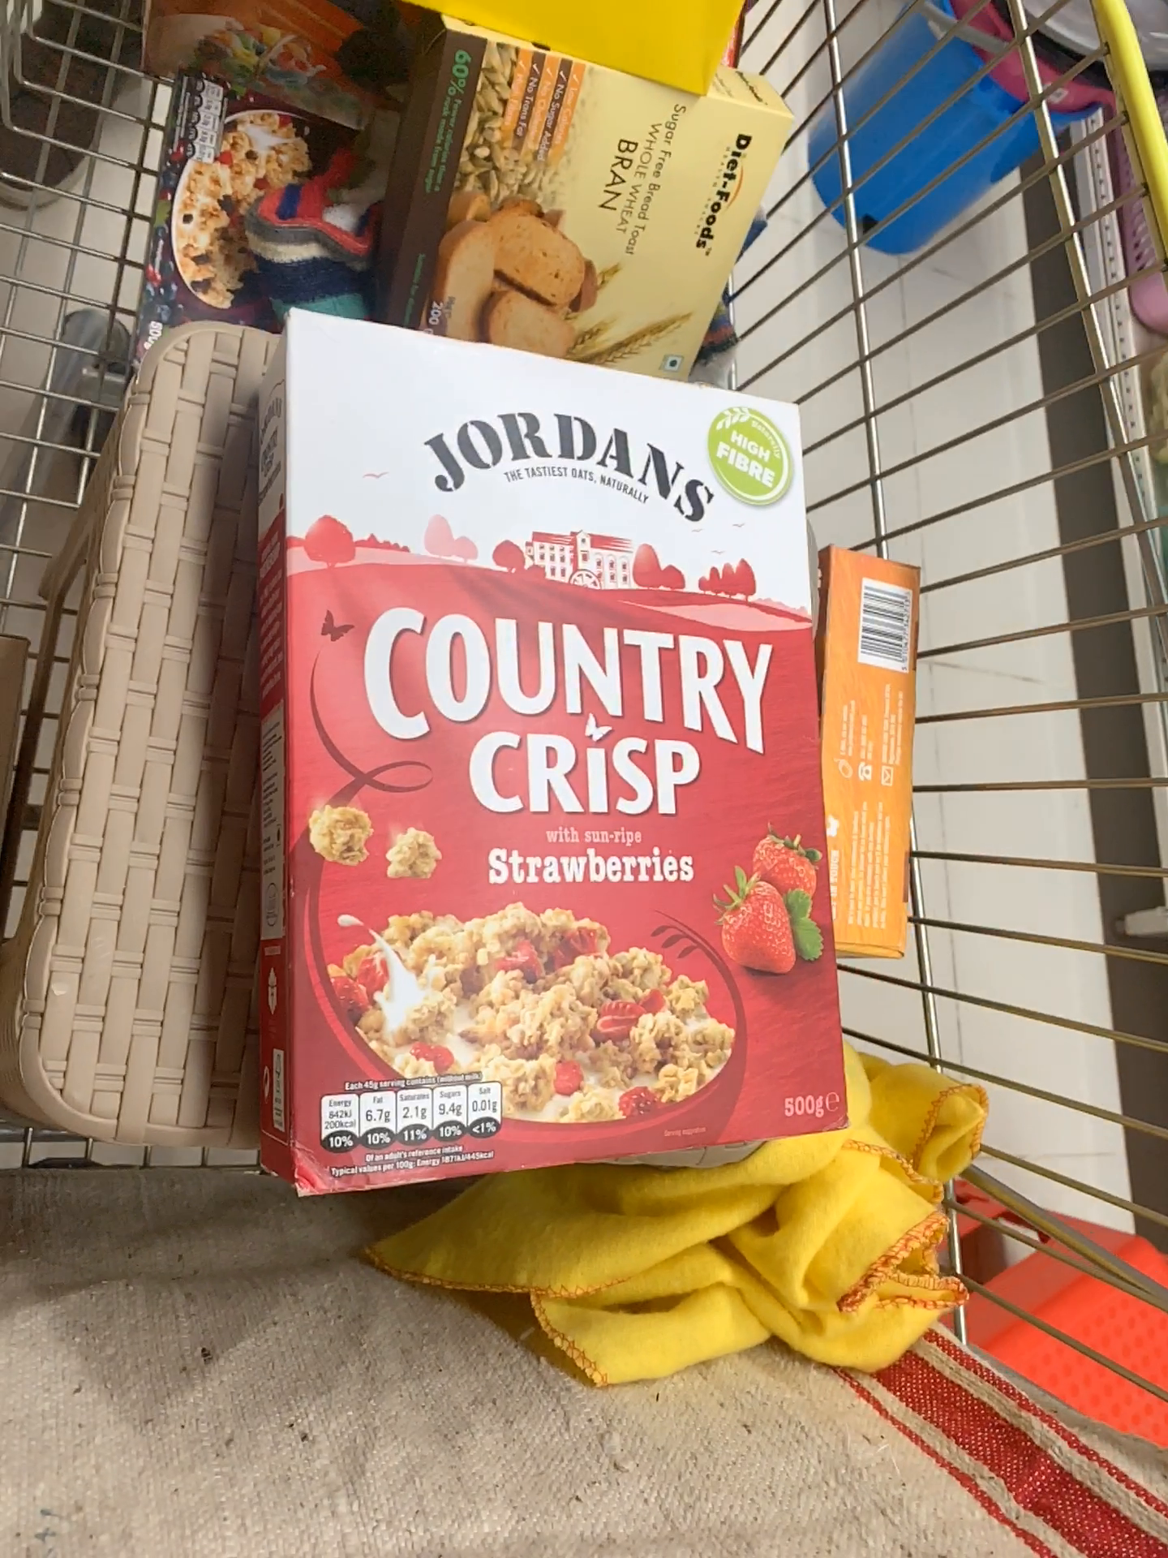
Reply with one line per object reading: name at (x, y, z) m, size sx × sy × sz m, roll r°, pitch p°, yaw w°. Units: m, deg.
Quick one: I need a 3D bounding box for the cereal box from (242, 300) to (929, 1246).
cereal box at (-0.003, -0.001, 0.357) m, size 0.181 × 0.070 × 0.230 m, roll 2°, pitch 79°, yaw -25°
